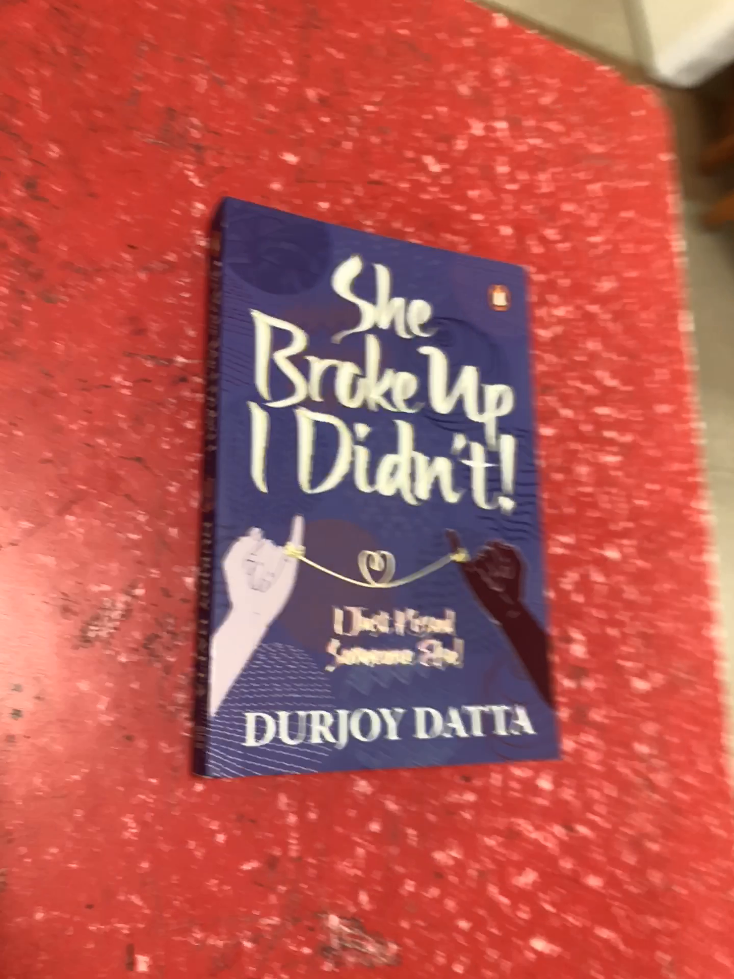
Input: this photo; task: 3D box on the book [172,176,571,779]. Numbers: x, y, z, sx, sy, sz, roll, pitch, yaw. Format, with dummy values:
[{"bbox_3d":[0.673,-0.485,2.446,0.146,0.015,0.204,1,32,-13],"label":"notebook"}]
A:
[{"bbox_3d":[0.003,-0.001,0.299,0.131,0.040,0.190,7,74,-28],"label":"book"}]
